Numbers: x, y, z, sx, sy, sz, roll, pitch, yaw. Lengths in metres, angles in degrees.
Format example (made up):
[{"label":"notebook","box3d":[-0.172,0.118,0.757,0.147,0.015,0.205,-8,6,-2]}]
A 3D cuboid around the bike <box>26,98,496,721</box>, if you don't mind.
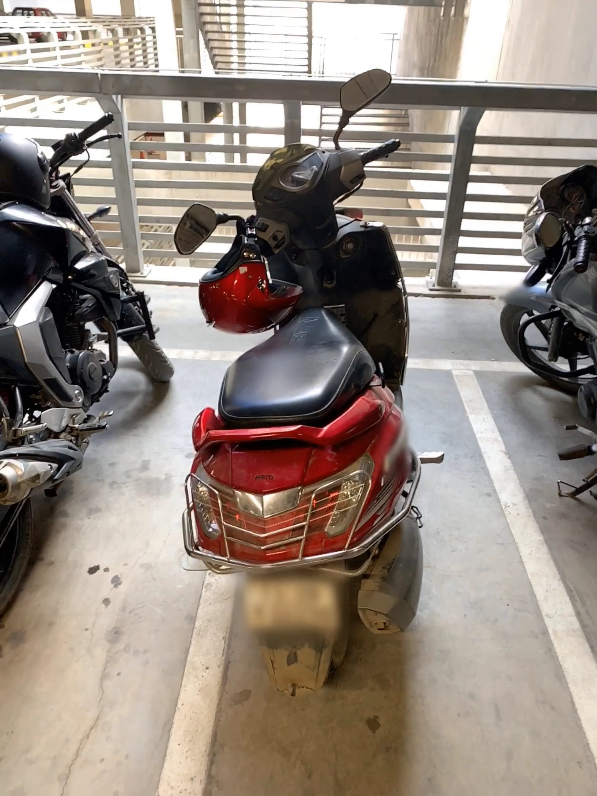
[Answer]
[{"label":"bike","box3d":[-0.056,-0.210,2.014,0.724,1.165,1.858,2,33,1]}]
